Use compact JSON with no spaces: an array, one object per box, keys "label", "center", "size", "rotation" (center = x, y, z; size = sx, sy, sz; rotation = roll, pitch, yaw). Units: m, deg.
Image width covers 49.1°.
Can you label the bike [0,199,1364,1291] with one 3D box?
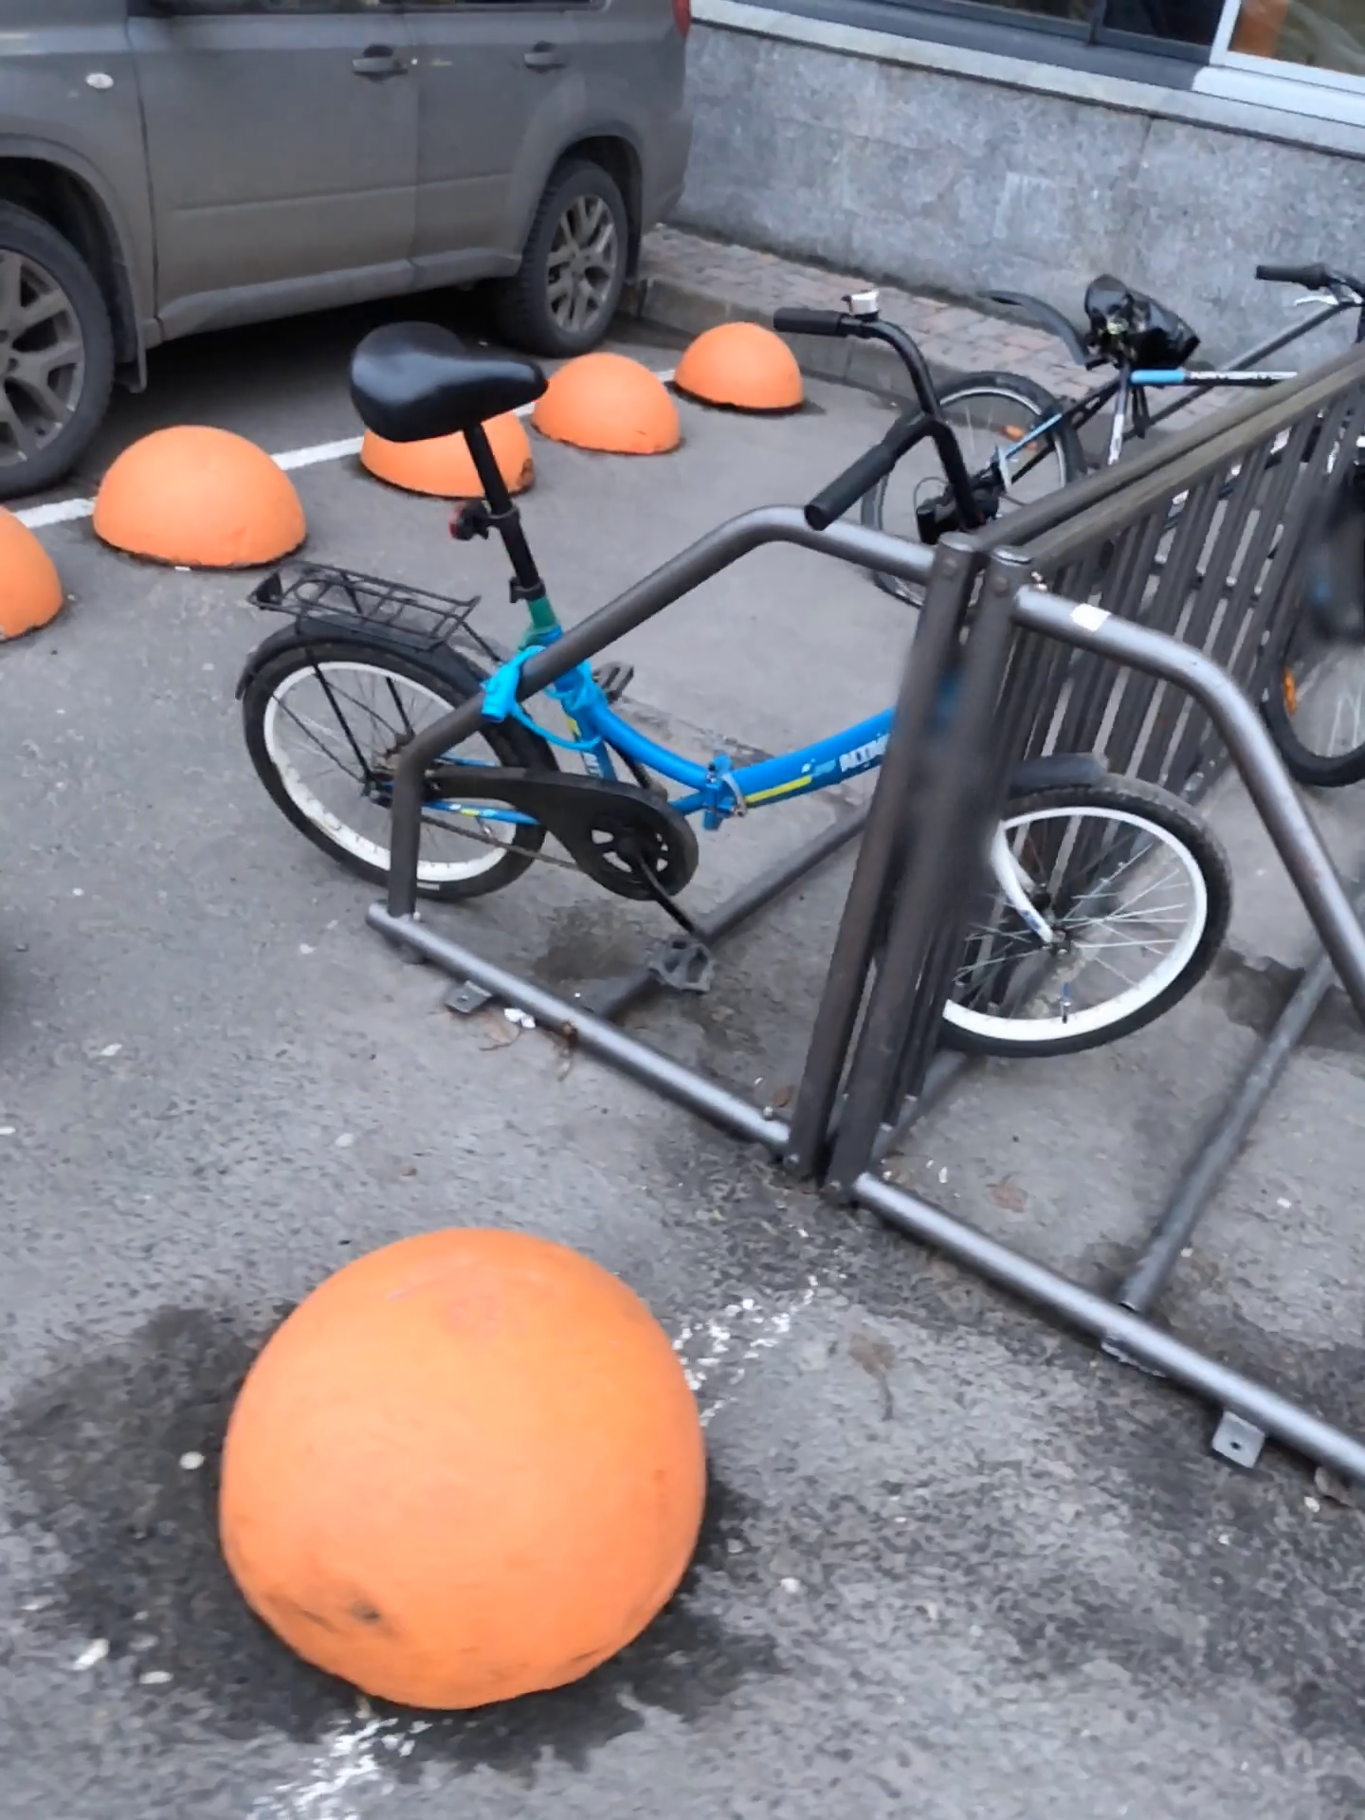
[{"label":"bike","center":[0.016,-0.281,1.837],"size":[1.420,0.992,0.727],"rotation":[11,32,12]}]
